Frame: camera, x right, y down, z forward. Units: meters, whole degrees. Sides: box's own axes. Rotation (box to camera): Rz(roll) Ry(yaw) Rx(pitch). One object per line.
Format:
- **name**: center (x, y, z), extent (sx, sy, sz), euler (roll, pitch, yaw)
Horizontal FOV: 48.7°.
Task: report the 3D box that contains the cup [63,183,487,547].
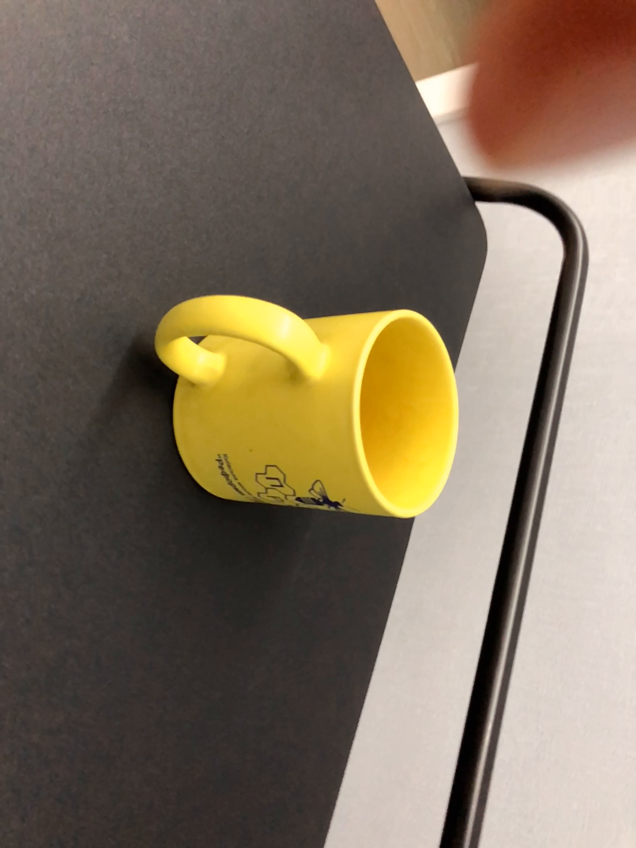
- **cup**: center (-0.008, -0.013, 0.289), extent (0.126, 0.101, 0.090), euler (33, 64, -49)
